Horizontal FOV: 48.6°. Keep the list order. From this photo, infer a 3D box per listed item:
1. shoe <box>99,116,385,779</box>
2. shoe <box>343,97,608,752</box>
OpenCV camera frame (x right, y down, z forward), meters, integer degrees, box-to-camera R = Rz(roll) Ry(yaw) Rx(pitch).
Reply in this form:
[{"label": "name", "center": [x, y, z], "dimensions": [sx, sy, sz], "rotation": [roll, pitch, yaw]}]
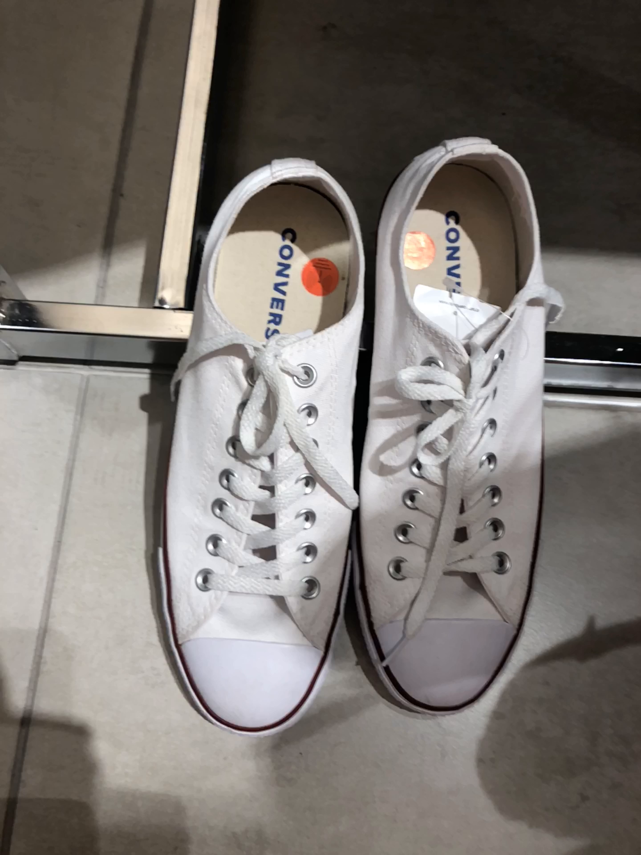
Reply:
[{"label": "shoe", "center": [-0.036, 0.010, 0.362], "dimensions": [0.110, 0.090, 0.290], "rotation": [4, 94, 1]}, {"label": "shoe", "center": [0.069, 0.000, 0.363], "dimensions": [0.100, 0.090, 0.290], "rotation": [2, 94, 0]}]
